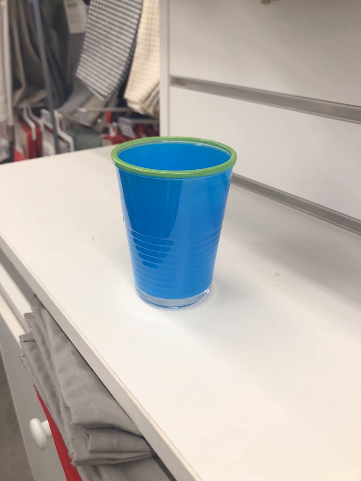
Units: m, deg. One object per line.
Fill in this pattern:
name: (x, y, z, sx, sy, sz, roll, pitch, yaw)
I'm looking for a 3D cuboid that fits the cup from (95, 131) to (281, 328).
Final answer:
cup: (0.002, -0.015, 0.269, 0.084, 0.090, 0.080, 1, 28, -1)
